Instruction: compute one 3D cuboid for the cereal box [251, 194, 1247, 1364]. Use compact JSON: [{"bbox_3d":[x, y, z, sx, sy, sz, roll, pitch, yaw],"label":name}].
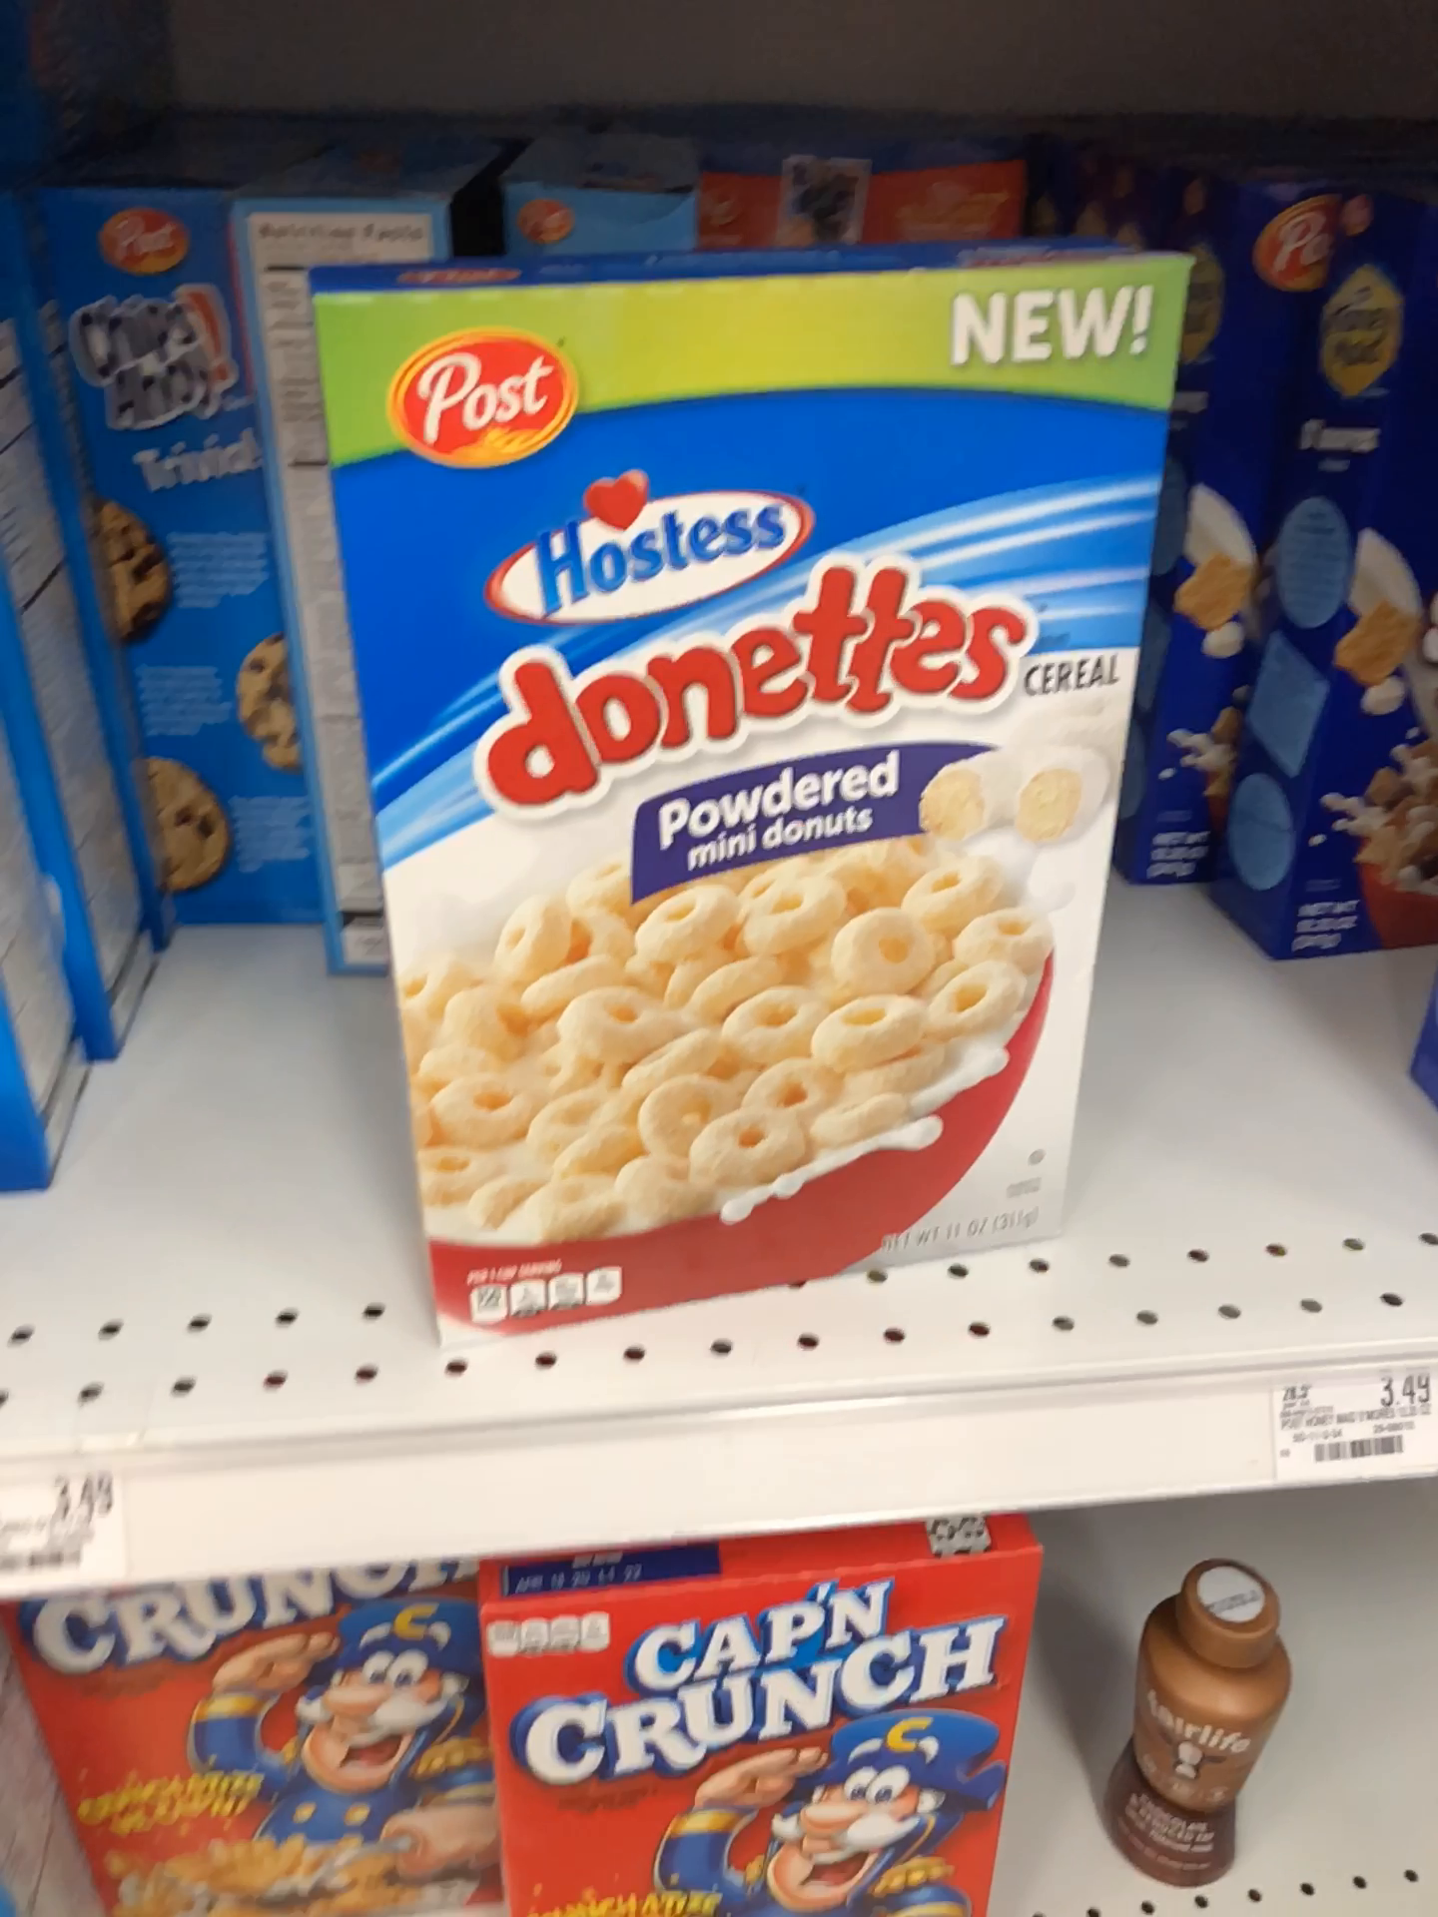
[{"bbox_3d":[0.005,-0.036,0.383,0.190,0.259,0.060,-8,31,-12],"label":"cereal box"}]
